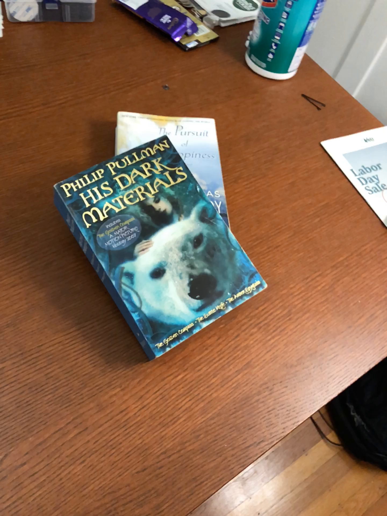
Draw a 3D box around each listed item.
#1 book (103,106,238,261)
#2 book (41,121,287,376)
[{"bbox_3d":[-0.031,-0.113,0.613,0.170,0.040,0.241,1,61,-4],"label":"book"},{"bbox_3d":[-0.035,-0.017,0.499,0.170,0.060,0.240,-31,82,-22],"label":"book"}]
